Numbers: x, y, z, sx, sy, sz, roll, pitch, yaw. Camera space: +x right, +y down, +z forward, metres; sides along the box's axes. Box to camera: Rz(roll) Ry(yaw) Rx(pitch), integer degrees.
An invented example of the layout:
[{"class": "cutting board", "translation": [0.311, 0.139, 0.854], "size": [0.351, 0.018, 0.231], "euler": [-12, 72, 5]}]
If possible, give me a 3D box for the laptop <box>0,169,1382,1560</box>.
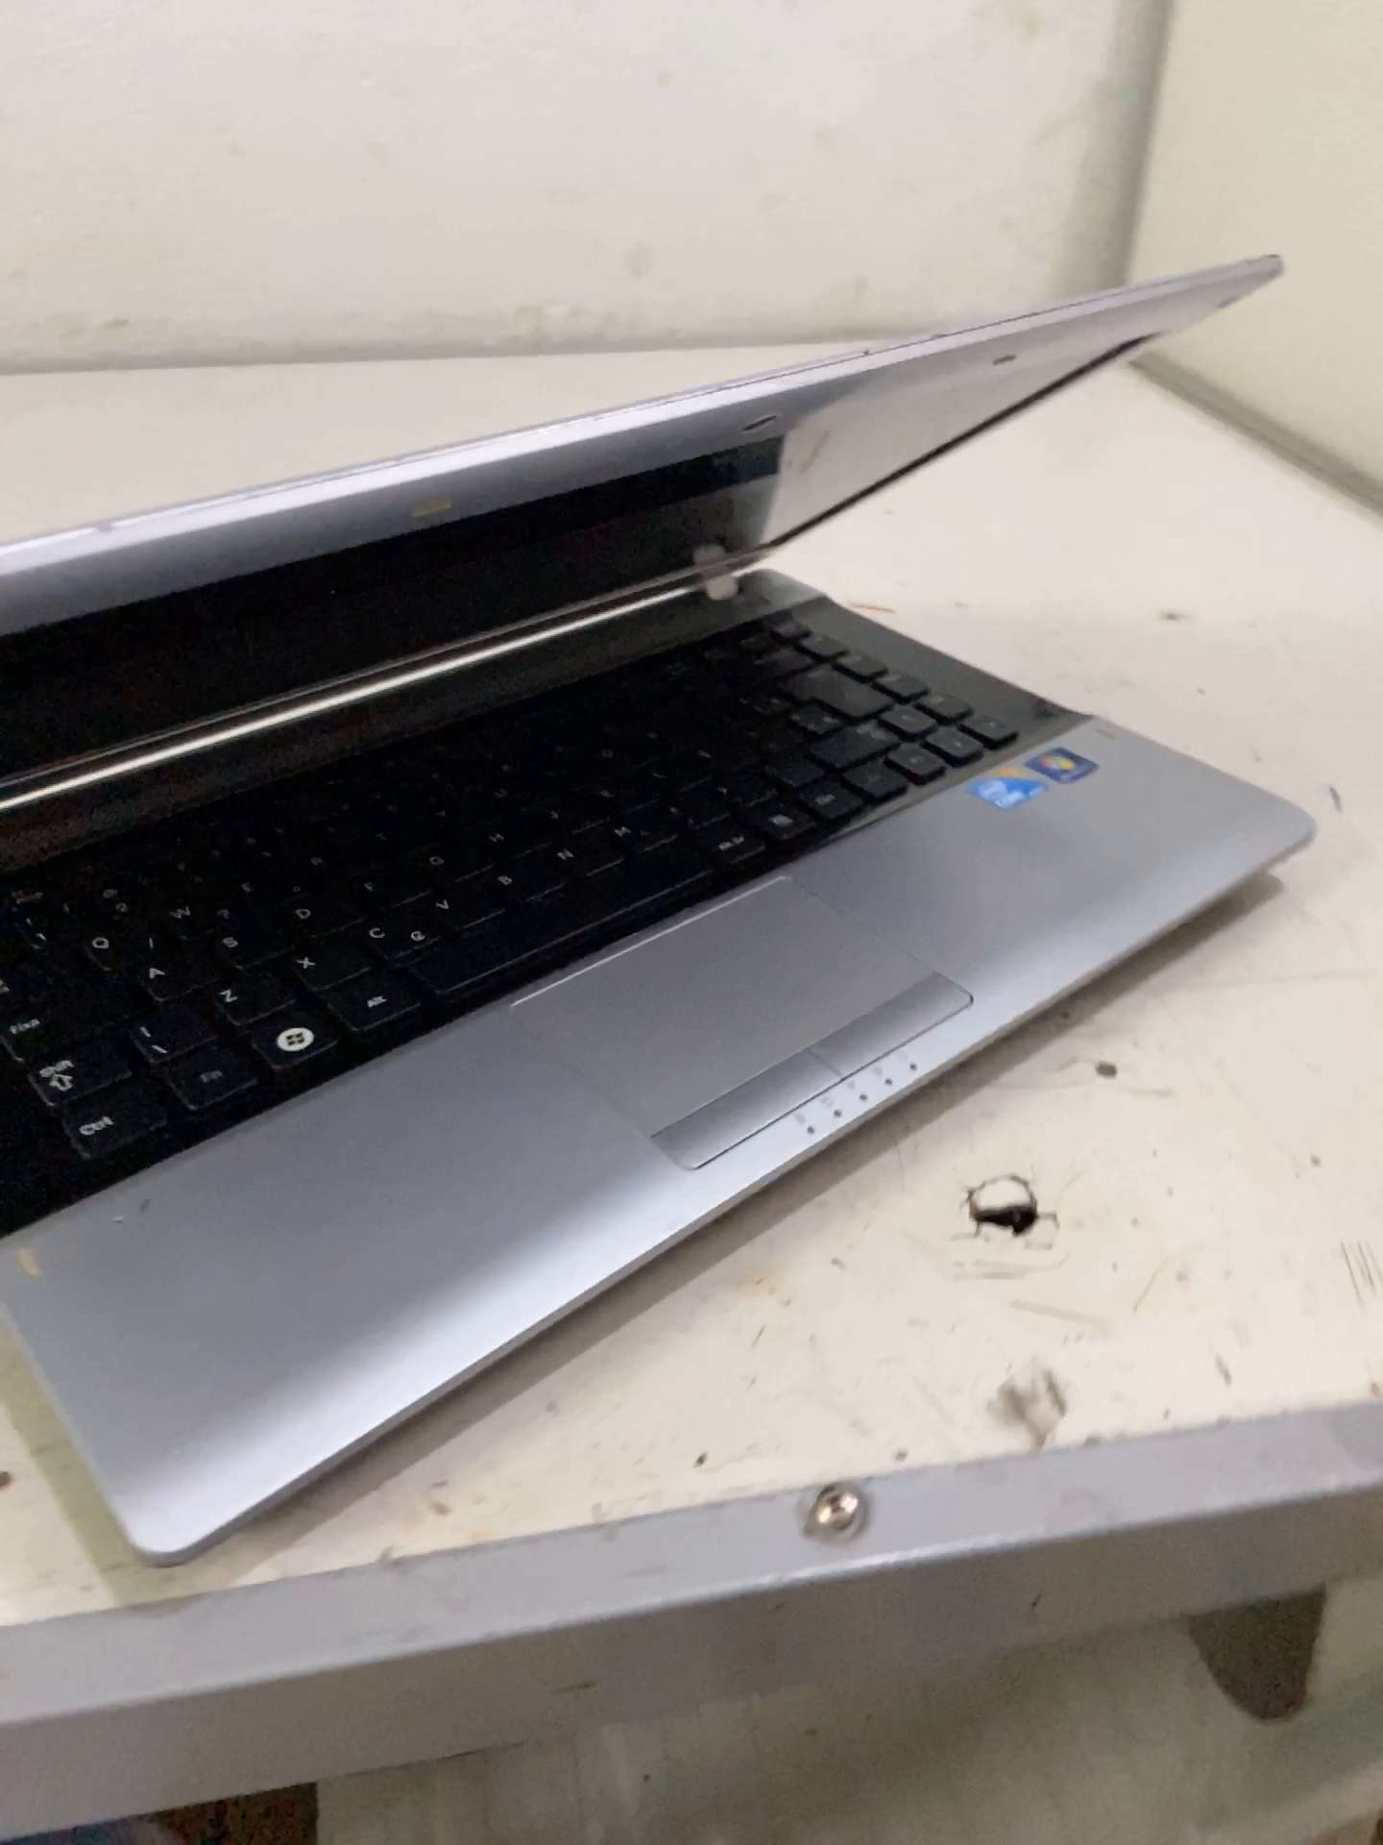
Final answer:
[{"class": "laptop", "translation": [-0.026, -0.075, 0.339], "size": [0.337, 0.133, 0.233], "euler": [-26, 44, -33]}]
